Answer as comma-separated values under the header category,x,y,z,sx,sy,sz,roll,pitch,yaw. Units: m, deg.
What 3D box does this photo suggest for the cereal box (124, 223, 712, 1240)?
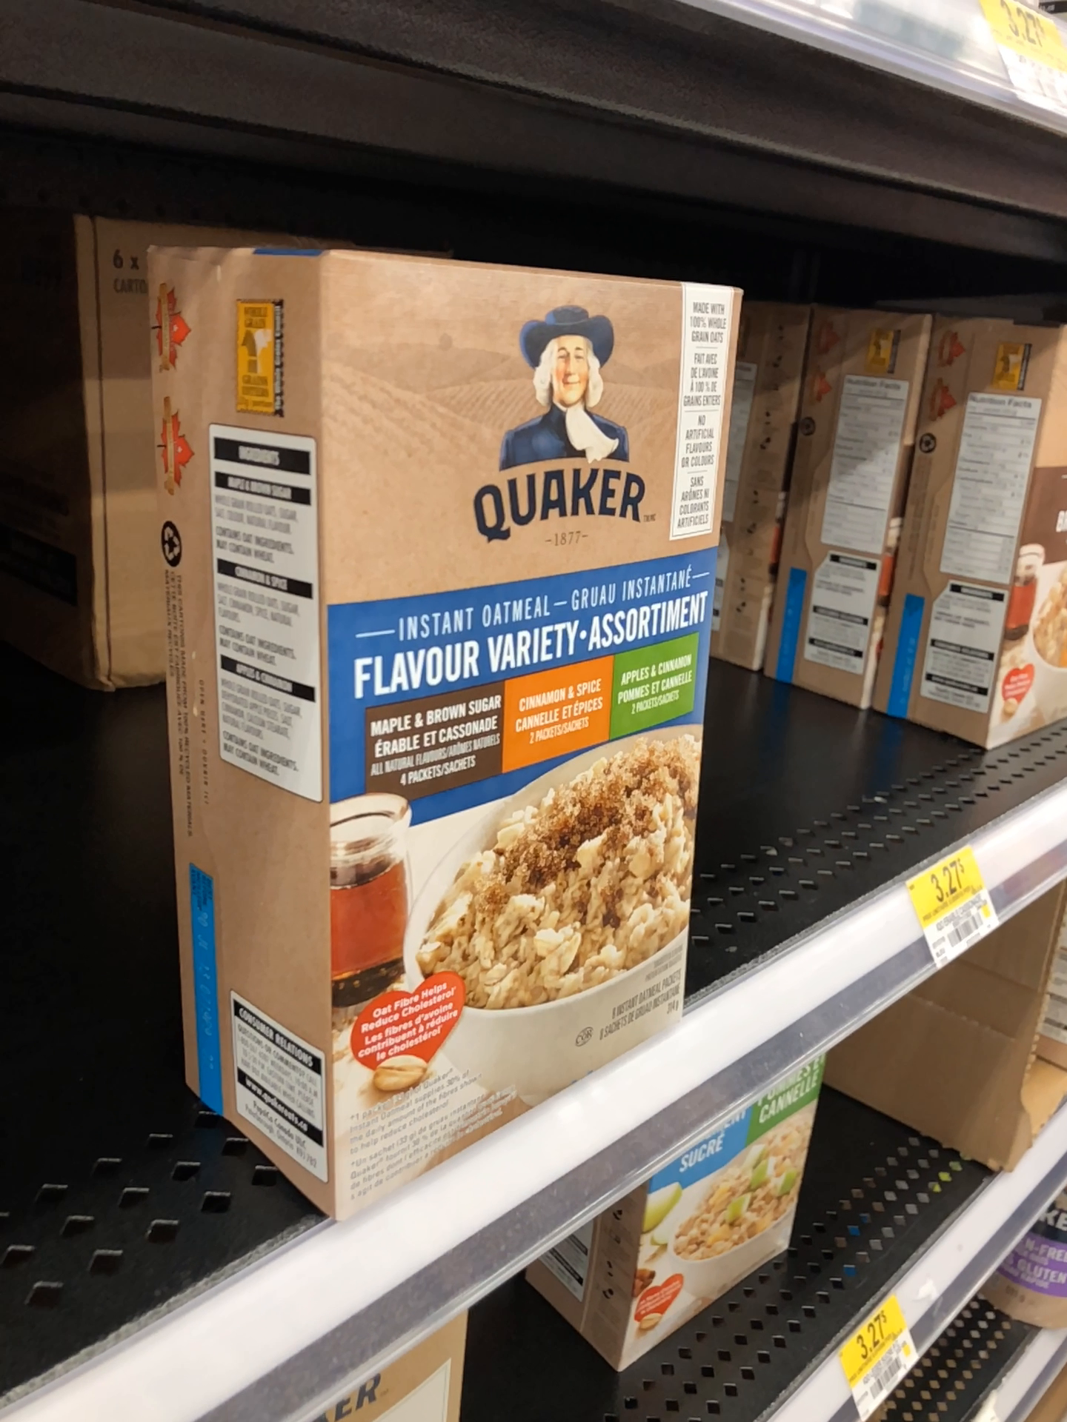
category,x,y,z,sx,sy,sz,roll,pitch,yaw
cereal box,-0.023,-0.002,0.293,0.060,0.209,0.120,17,23,41
